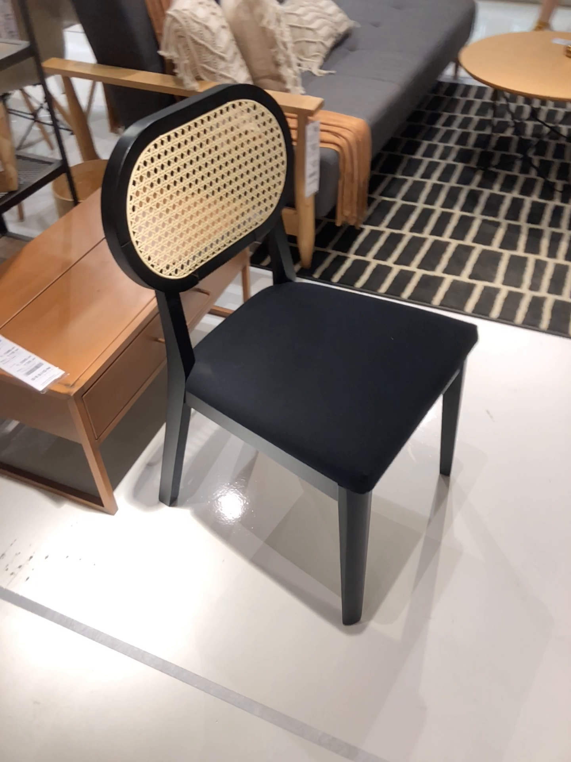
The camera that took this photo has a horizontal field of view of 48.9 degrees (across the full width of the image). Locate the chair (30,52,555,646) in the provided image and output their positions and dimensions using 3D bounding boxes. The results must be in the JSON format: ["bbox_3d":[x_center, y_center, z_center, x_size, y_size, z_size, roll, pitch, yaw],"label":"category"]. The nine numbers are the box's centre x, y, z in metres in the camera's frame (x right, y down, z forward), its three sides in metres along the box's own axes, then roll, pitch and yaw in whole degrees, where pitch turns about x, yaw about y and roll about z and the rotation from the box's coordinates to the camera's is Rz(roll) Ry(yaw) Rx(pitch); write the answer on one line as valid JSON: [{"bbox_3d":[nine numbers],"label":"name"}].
[{"bbox_3d":[0.037,-0.051,1.137,0.541,0.804,0.503,23,48,23],"label":"chair"}]
